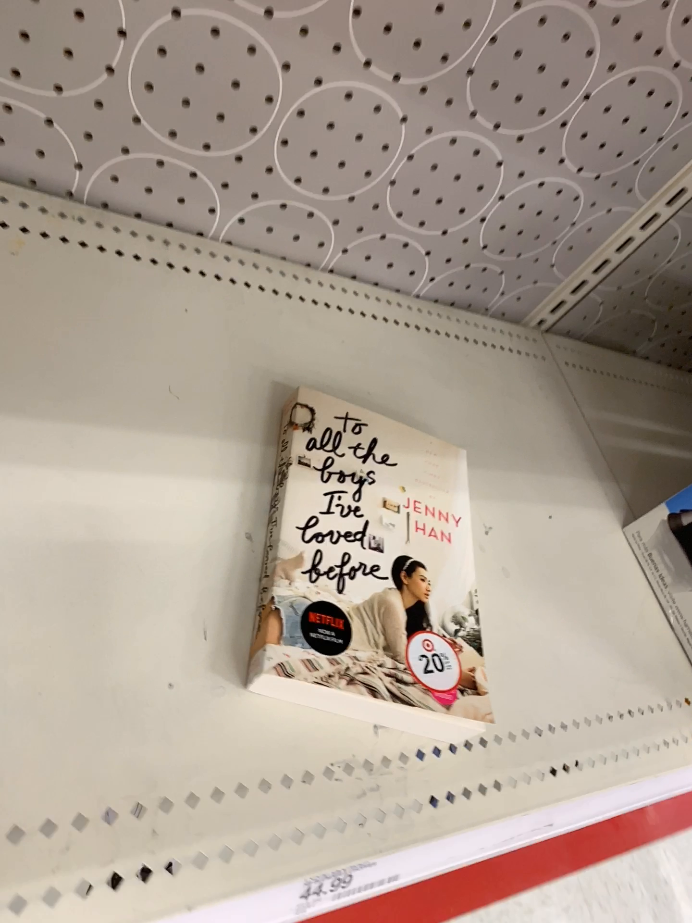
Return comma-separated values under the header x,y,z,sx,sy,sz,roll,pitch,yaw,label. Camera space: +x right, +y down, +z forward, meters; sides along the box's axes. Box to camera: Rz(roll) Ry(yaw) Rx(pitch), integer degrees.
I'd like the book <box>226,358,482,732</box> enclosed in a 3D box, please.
x,y,z,sx,sy,sz,roll,pitch,yaw,label
0.011,0.047,0.458,0.144,0.034,0.214,22,47,-23,book
